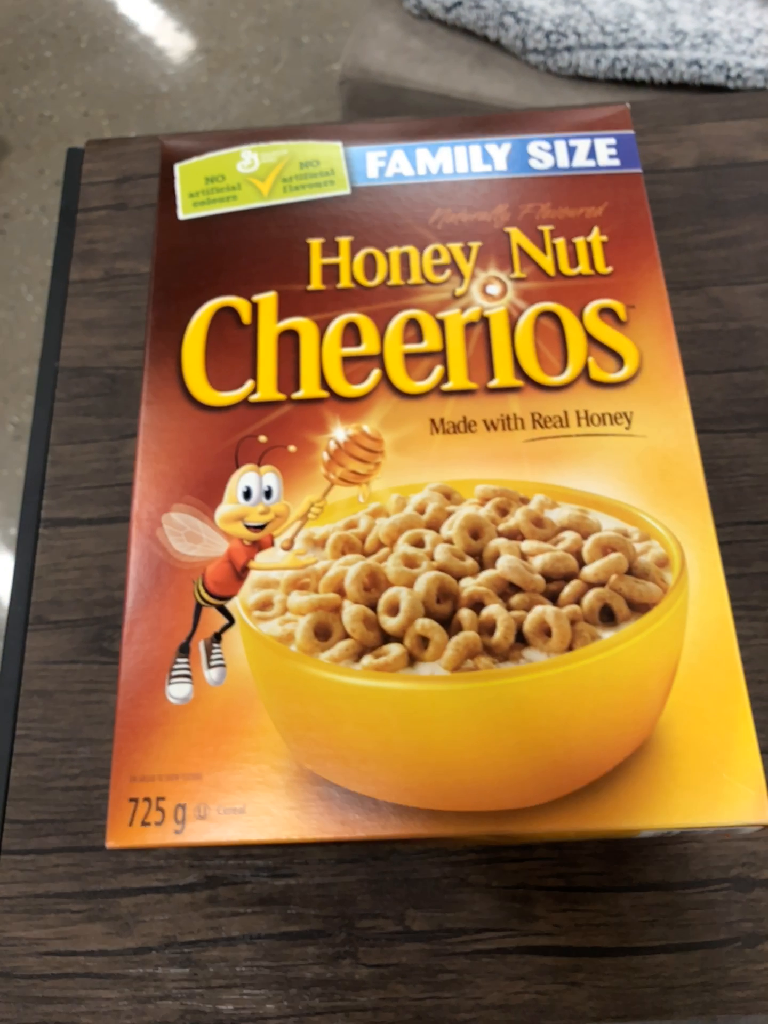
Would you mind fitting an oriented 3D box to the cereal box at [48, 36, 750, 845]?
[{"bbox_3d":[-0.001,-0.048,0.417,0.250,0.080,0.380,-3,67,4],"label":"cereal box"}]
